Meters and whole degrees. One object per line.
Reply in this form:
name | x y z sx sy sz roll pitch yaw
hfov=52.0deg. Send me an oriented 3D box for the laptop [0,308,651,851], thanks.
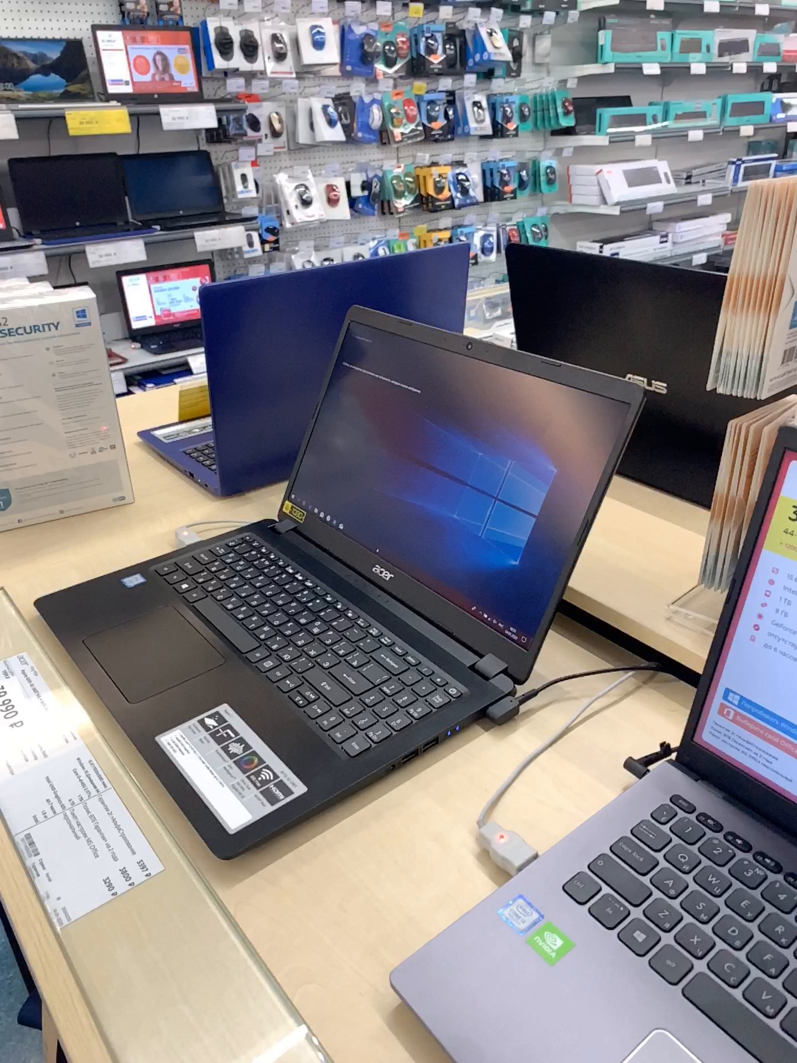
laptop | -0.077 -0.020 0.688 0.375 0.216 0.378 -21 33 -33
